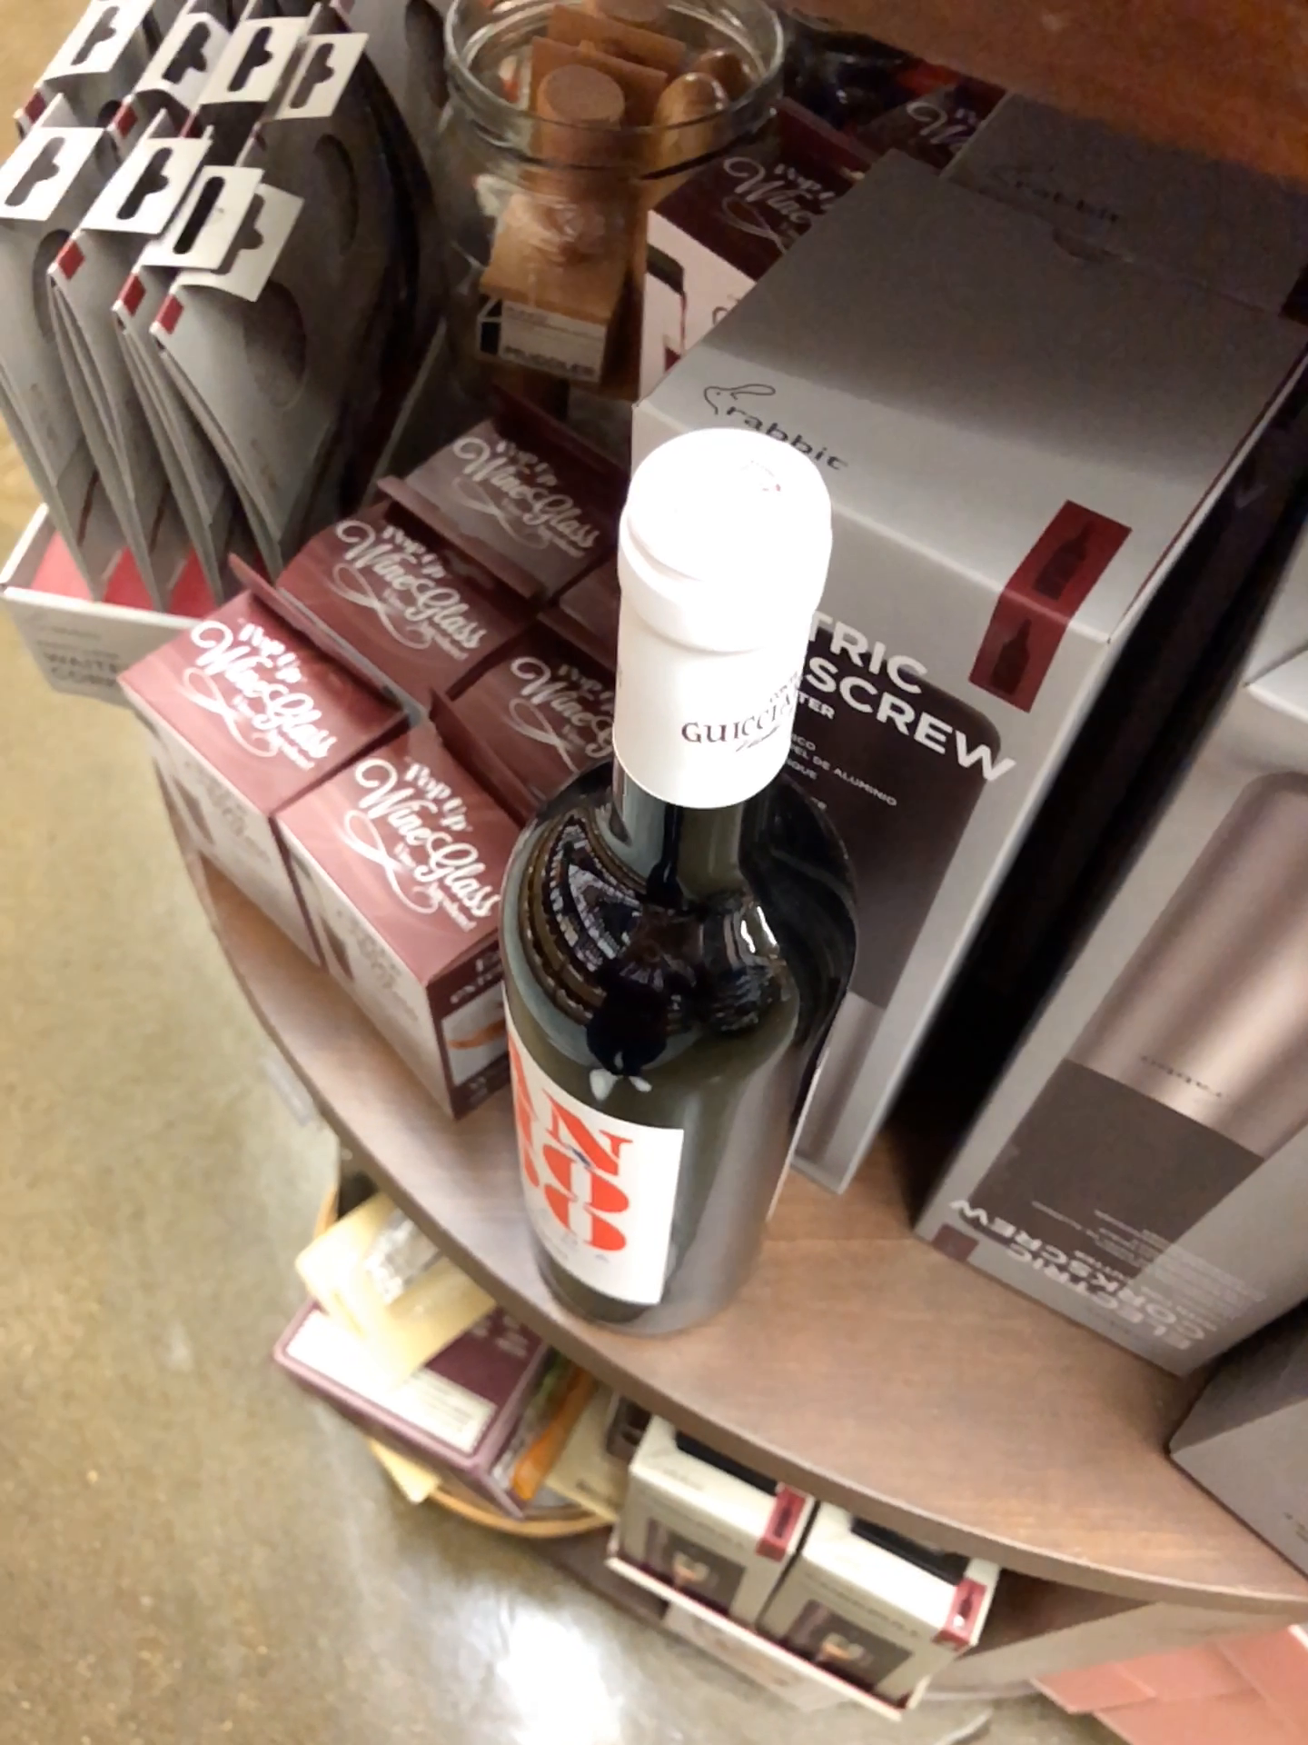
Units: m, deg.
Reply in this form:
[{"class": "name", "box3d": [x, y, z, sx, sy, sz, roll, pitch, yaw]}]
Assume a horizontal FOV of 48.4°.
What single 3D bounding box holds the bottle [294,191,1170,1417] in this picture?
[{"class": "bottle", "box3d": [0.006, 0.028, 0.320, 0.080, 0.310, 0.083, 0, 58, -1]}]
